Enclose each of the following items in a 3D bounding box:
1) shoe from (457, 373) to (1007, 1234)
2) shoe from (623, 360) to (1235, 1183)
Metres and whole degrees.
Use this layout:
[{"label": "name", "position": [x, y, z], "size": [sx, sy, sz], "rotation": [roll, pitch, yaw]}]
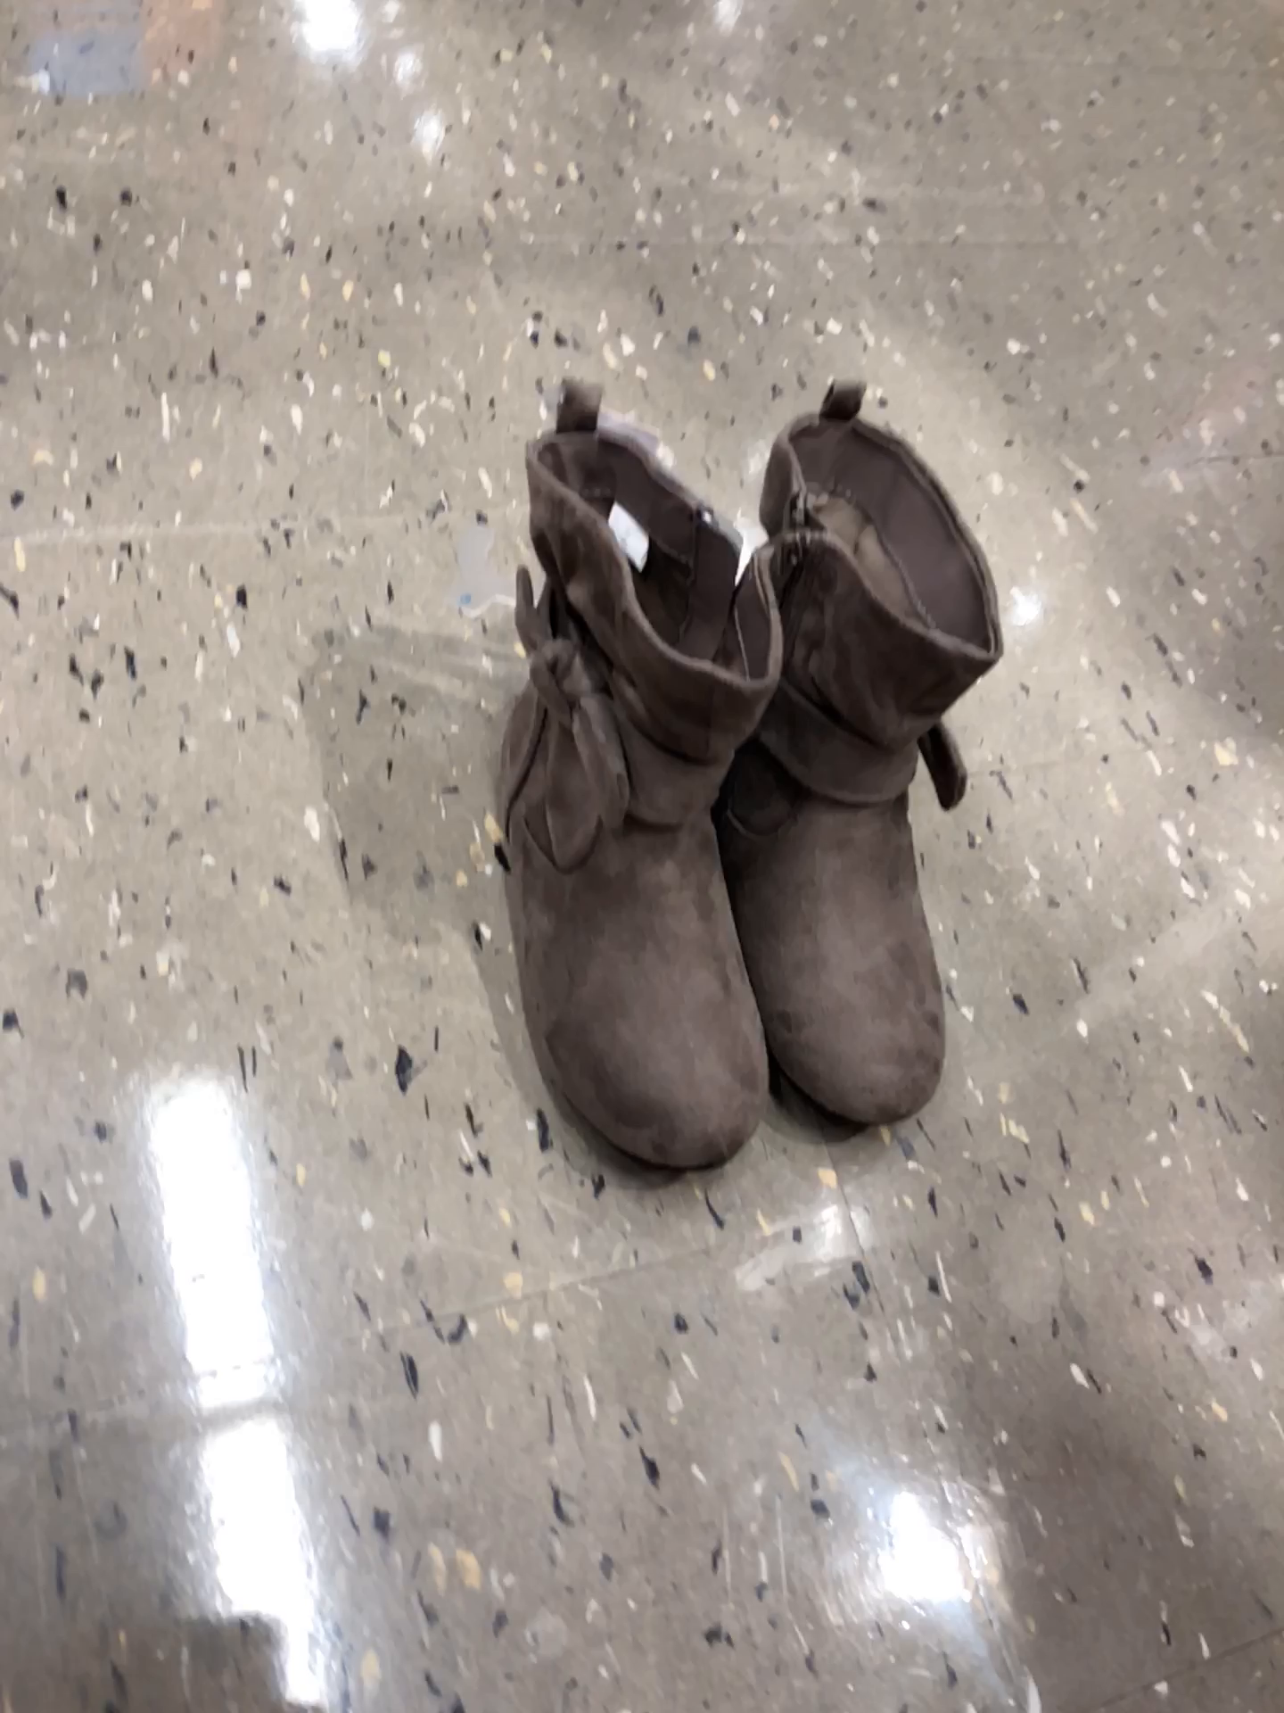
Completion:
[{"label": "shoe", "position": [0.008, -0.011, 0.428], "size": [0.080, 0.160, 0.200], "rotation": [-5, 63, -17]}, {"label": "shoe", "position": [0.070, -0.022, 0.449], "size": [0.080, 0.160, 0.200], "rotation": [-5, 63, -17]}]
